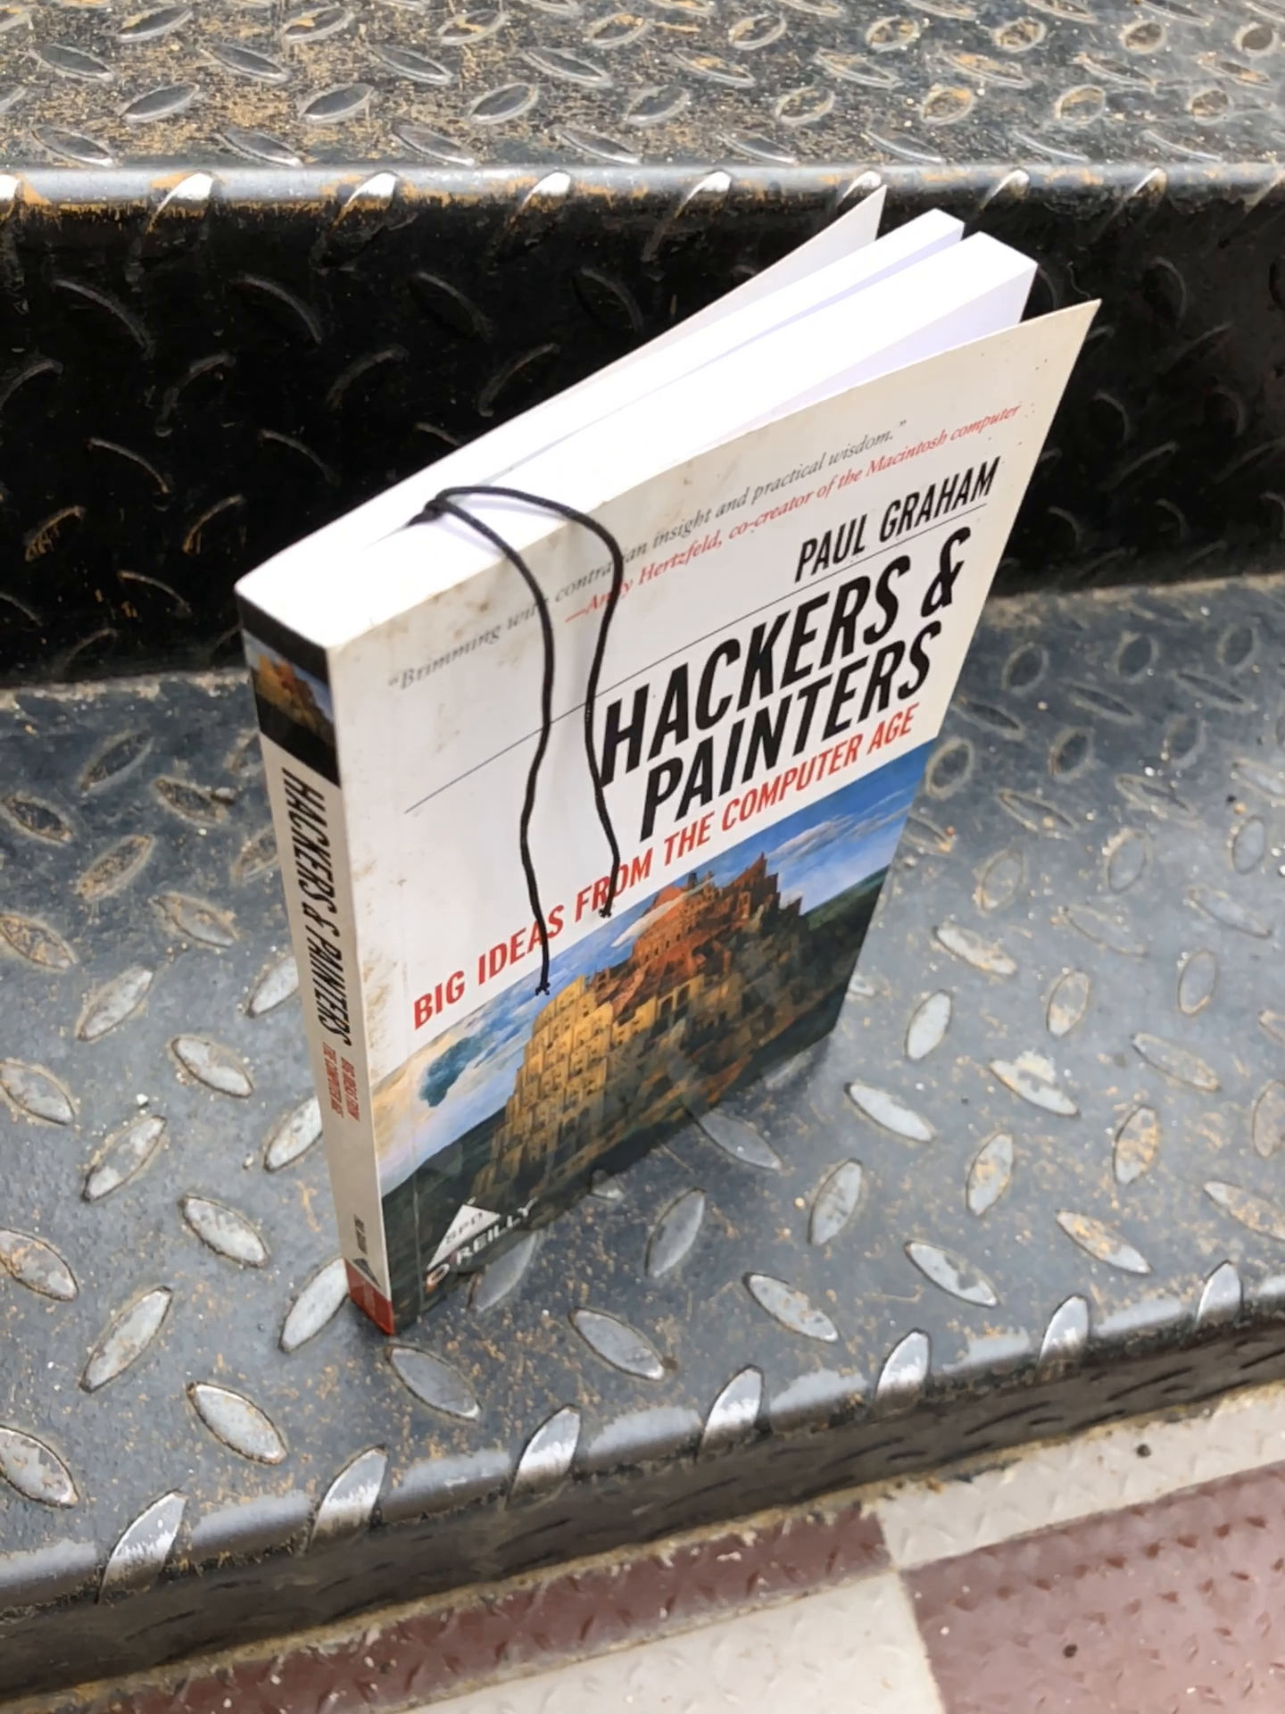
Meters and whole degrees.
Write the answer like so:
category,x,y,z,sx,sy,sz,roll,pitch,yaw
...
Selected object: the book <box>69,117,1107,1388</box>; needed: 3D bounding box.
category,x,y,z,sx,sy,sz,roll,pitch,yaw
book,-0.002,-0.003,0.282,0.030,0.219,0.170,38,59,23
